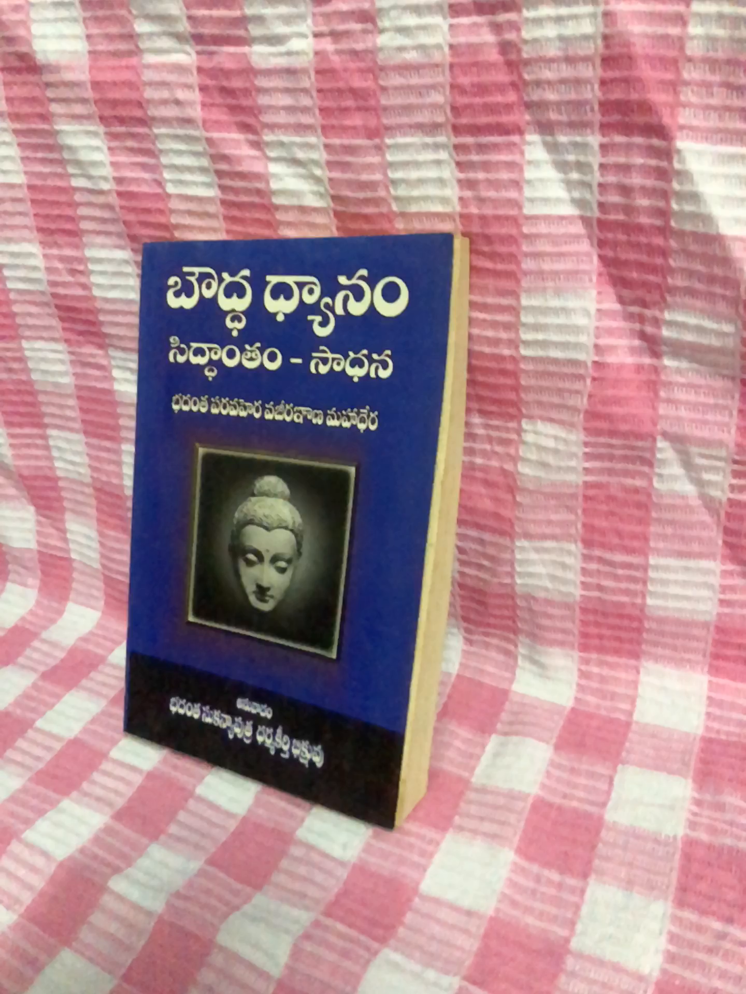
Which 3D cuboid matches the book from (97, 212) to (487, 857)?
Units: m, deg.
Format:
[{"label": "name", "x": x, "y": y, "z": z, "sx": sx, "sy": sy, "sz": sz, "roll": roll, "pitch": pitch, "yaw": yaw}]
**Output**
[{"label": "book", "x": -0.043, "y": 0.007, "z": 0.343, "sx": 0.160, "sy": 0.230, "sz": 0.030, "roll": 8, "pitch": 6, "yaw": 30}]
